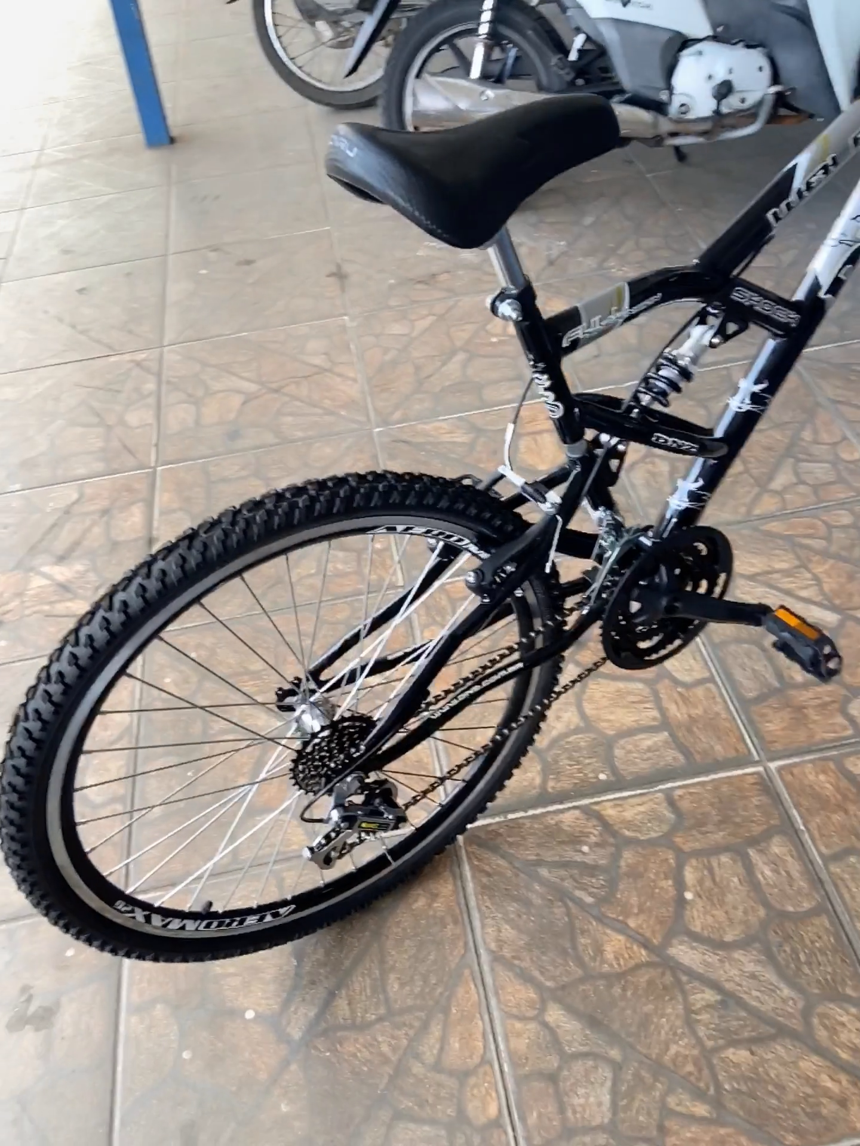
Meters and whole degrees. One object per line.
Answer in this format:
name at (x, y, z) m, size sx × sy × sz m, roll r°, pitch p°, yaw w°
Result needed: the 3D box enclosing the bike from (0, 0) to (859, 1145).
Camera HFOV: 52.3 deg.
bike at (0.185, -0.270, 0.971) m, size 1.588 × 1.154 × 0.605 m, roll -37°, pitch 55°, yaw -21°
